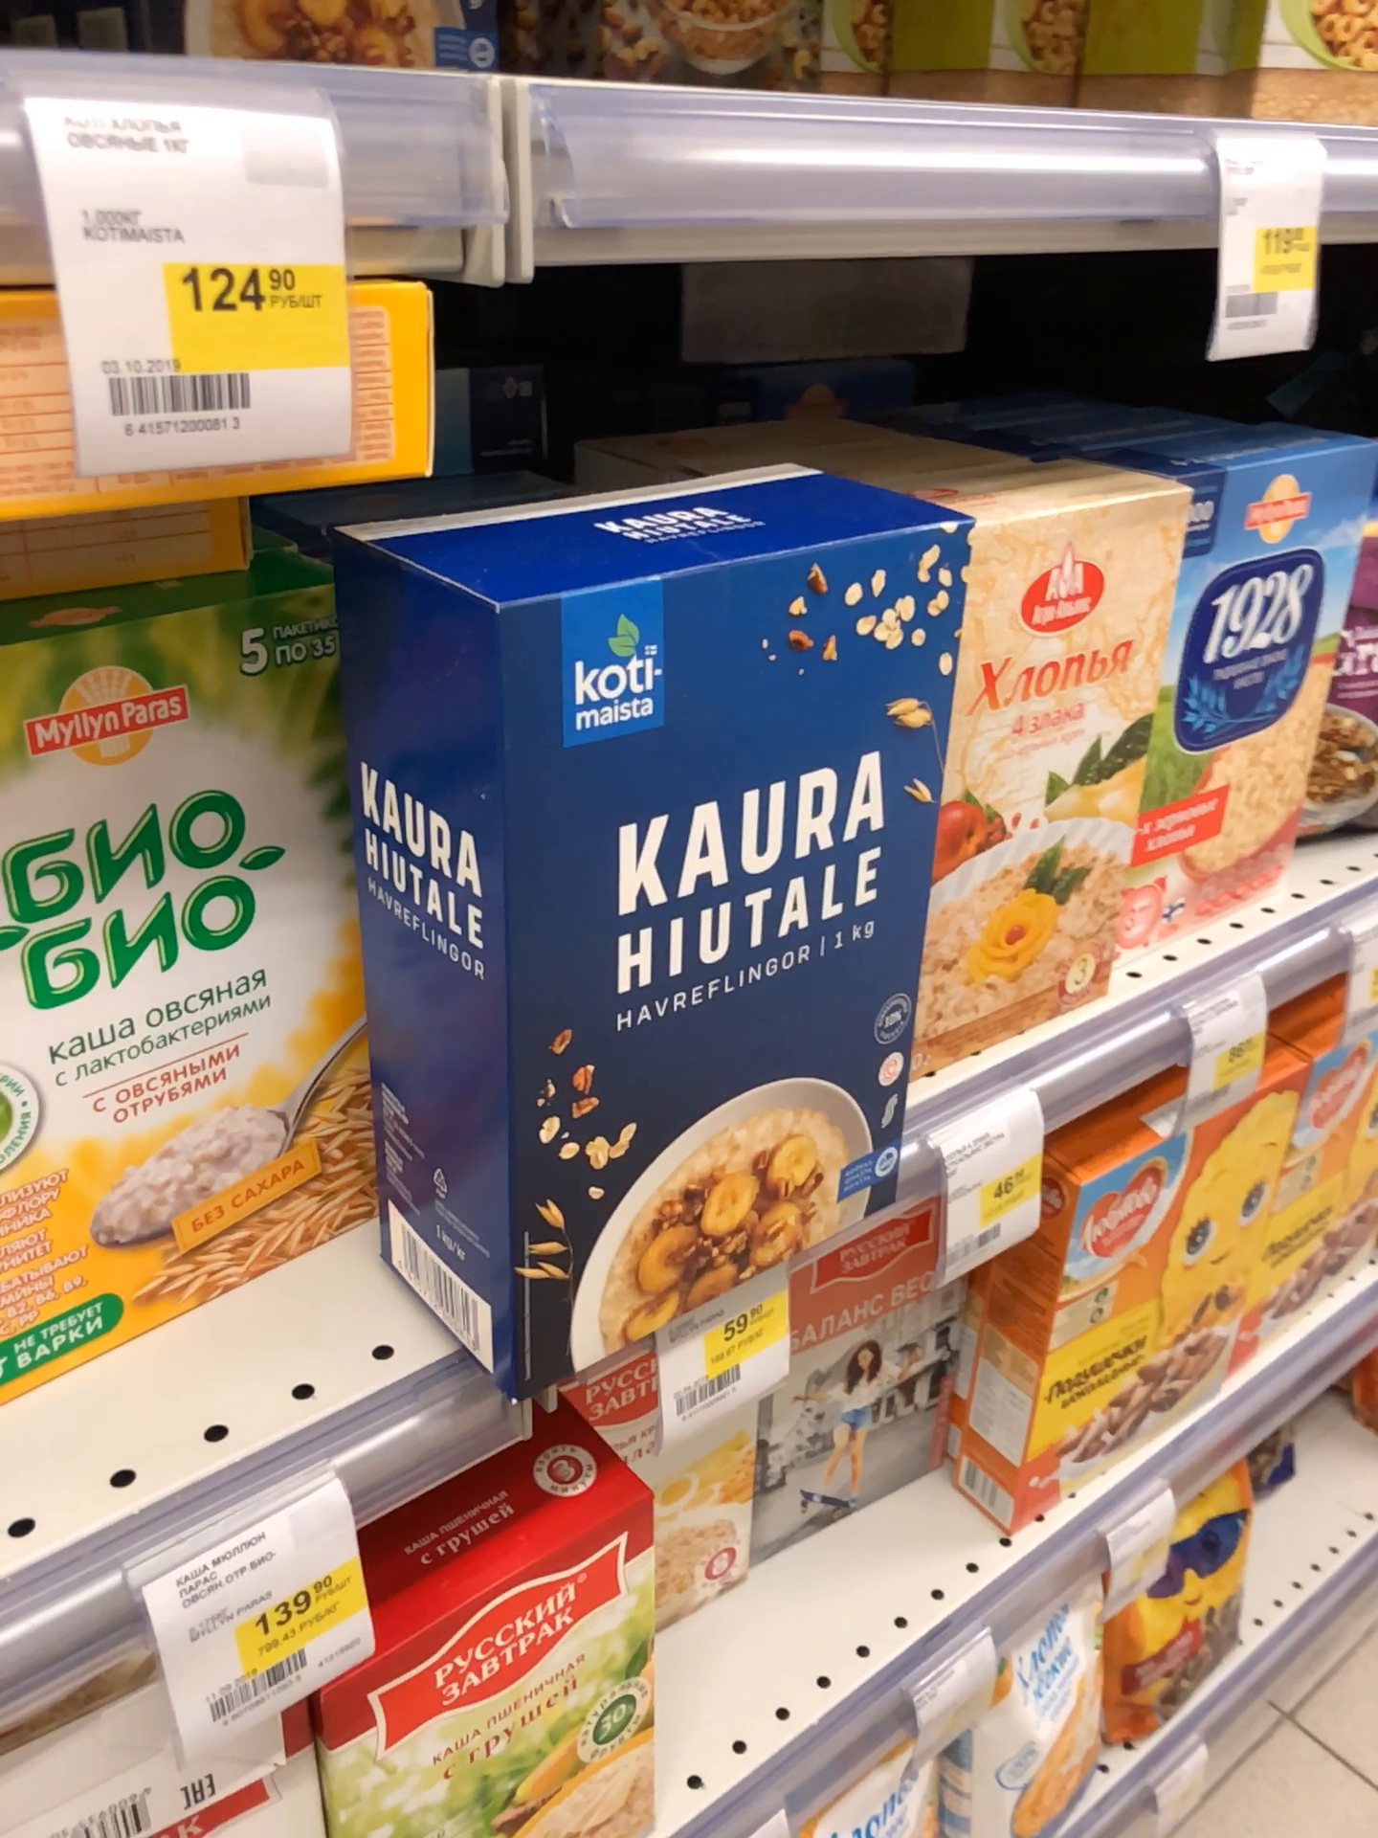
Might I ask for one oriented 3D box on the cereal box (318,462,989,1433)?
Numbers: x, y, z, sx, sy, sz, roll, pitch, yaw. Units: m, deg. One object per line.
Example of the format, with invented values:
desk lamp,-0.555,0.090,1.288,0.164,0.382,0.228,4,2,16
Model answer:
cereal box,-0.008,0.002,0.430,0.150,0.229,0.080,-19,33,-35
